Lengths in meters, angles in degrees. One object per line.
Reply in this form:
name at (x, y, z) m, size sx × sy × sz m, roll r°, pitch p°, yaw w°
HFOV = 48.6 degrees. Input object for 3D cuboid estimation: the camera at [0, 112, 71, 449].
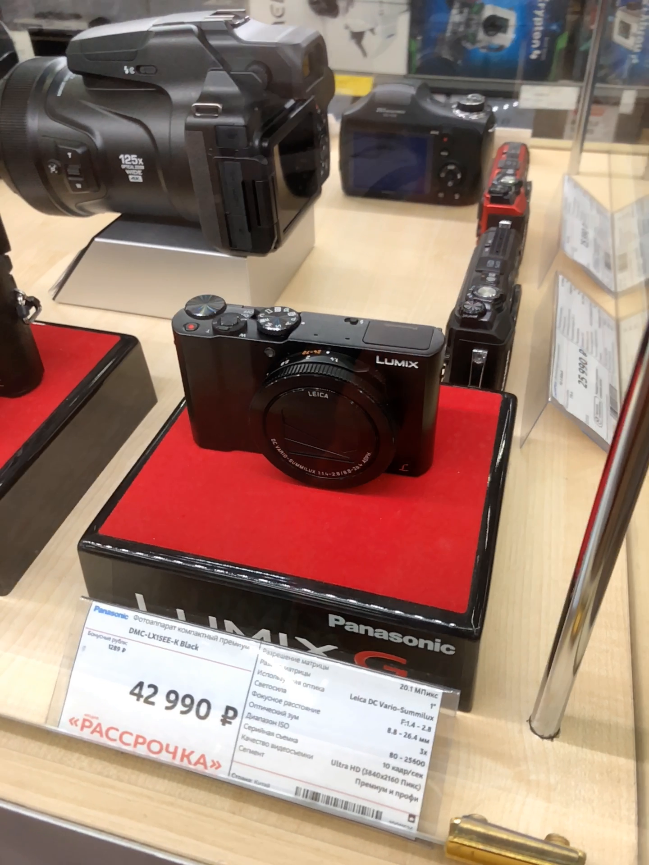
camera at (-0.189, -0.065, 0.308) m, size 0.110 × 0.112 × 0.066 m, roll 9°, pitch 41°, yaw 13°

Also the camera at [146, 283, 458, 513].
camera at (-0.007, -0.014, 0.290) m, size 0.110 × 0.070 × 0.040 m, roll 8°, pitch 40°, yaw 11°

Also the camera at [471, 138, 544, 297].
camera at (0.135, -0.159, 0.526) m, size 0.033 × 0.072 × 0.111 m, roll 9°, pitch 41°, yaw 13°

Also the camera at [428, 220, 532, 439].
camera at (0.088, -0.061, 0.403) m, size 0.033 × 0.072 × 0.111 m, roll 11°, pitch 41°, yaw 14°
